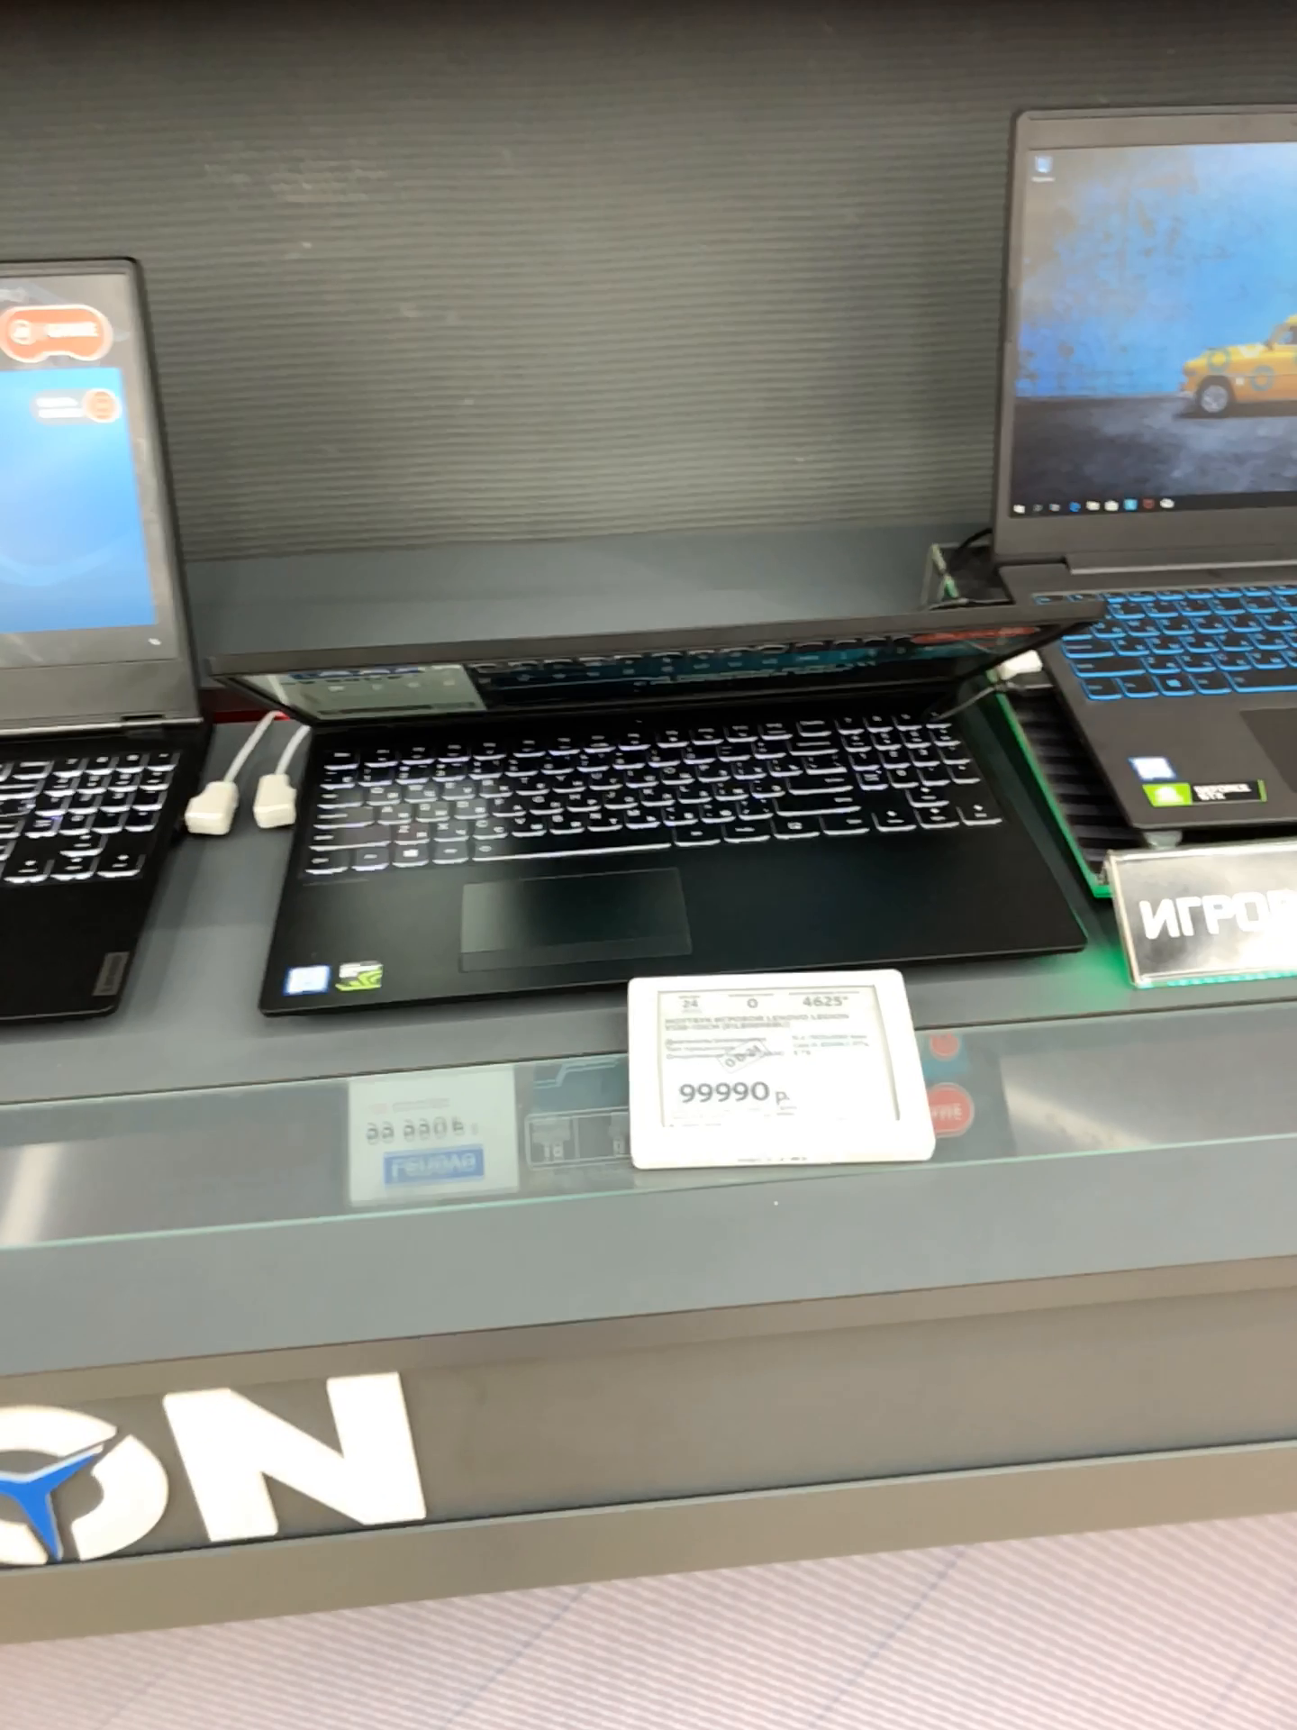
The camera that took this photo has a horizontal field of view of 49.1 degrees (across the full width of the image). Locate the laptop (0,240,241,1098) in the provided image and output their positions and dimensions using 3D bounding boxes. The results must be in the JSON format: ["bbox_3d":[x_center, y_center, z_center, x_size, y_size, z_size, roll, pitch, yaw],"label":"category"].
[{"bbox_3d":[-0.427,-0.111,0.648,0.363,0.231,0.309,-4,36,-2],"label":"laptop"}]

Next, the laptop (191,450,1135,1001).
[{"bbox_3d":[0.001,-0.078,0.658,0.353,0.136,0.228,-4,35,-3],"label":"laptop"}]
